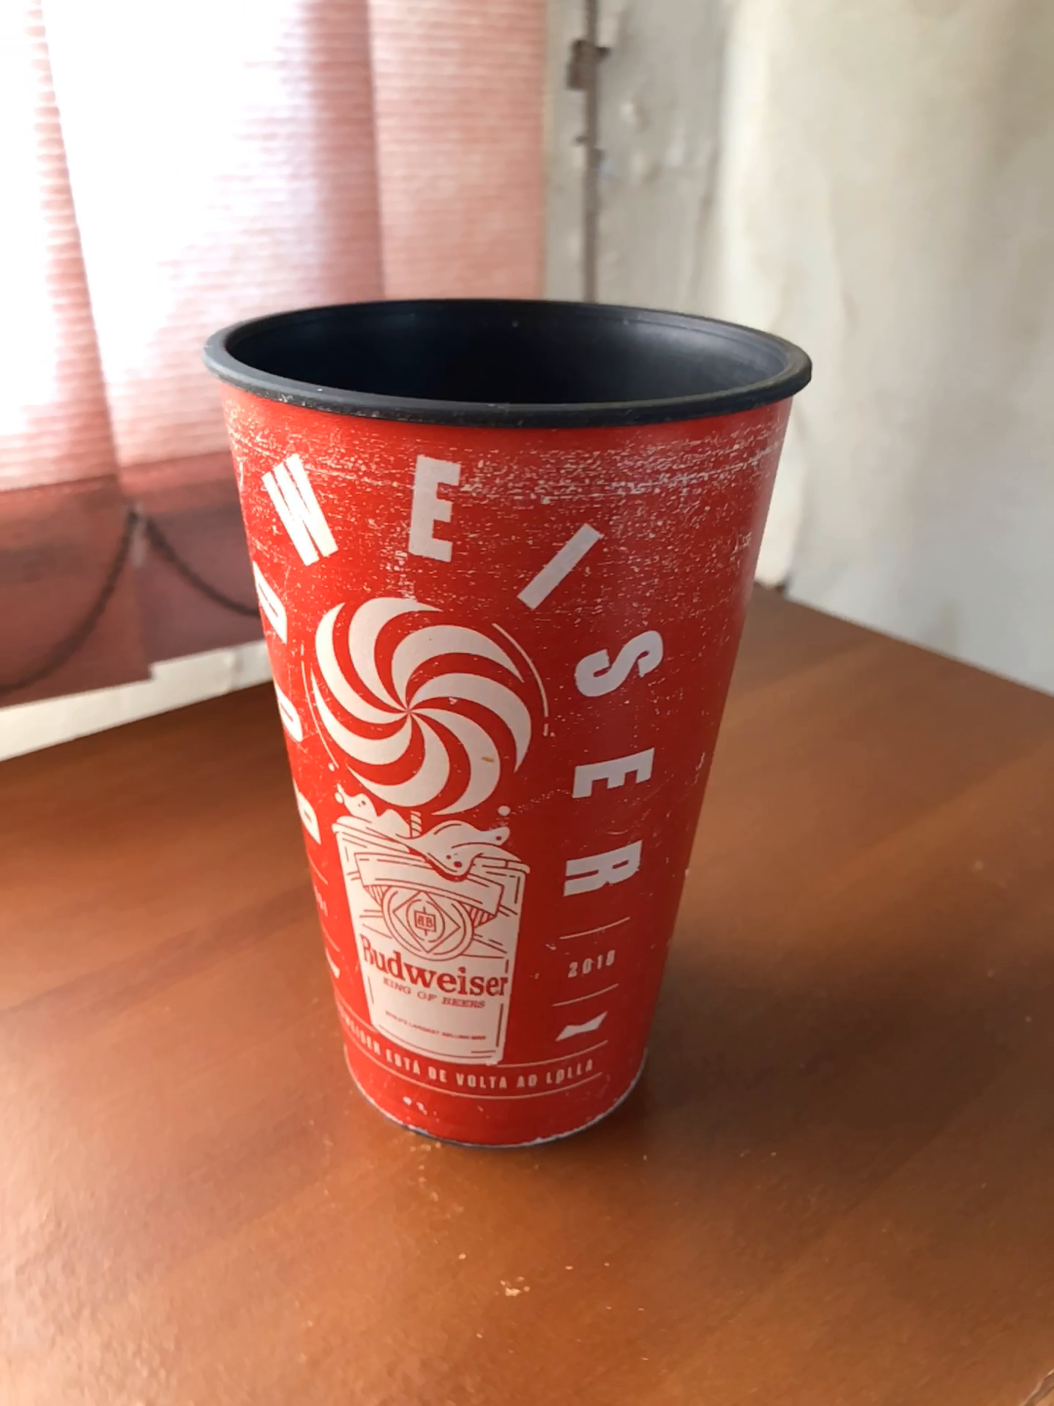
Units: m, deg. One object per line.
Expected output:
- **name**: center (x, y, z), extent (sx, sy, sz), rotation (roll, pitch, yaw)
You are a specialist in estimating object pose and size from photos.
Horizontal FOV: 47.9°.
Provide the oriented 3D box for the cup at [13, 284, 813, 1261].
- **cup**: center (-0.007, 0.004, 0.214), extent (0.100, 0.139, 0.091), rotation (5, 27, 12)
